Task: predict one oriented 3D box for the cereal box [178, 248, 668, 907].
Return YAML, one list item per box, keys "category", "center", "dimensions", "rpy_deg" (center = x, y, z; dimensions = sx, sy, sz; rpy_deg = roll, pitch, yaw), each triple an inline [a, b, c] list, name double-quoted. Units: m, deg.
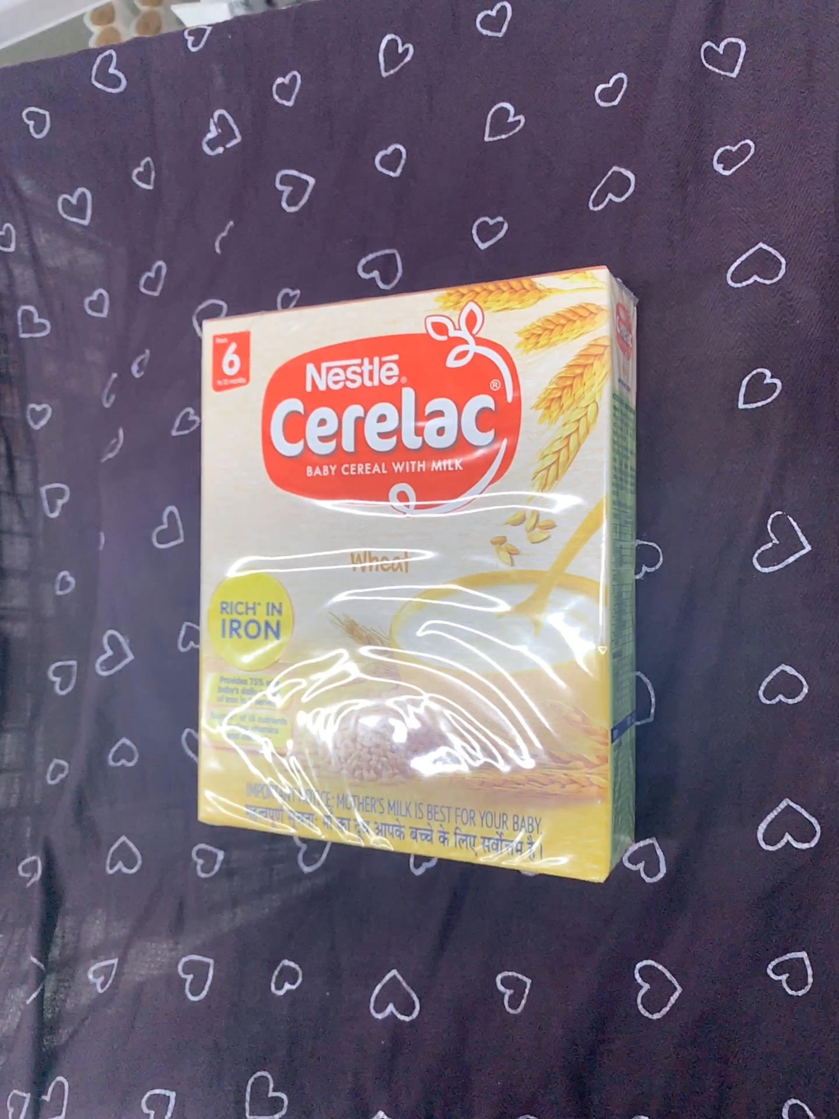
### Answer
- category: "cereal box"
  center: [-0.002, 0.004, 0.258]
  dimensions: [0.140, 0.040, 0.160]
  rpy_deg: [0, 90, 24]
